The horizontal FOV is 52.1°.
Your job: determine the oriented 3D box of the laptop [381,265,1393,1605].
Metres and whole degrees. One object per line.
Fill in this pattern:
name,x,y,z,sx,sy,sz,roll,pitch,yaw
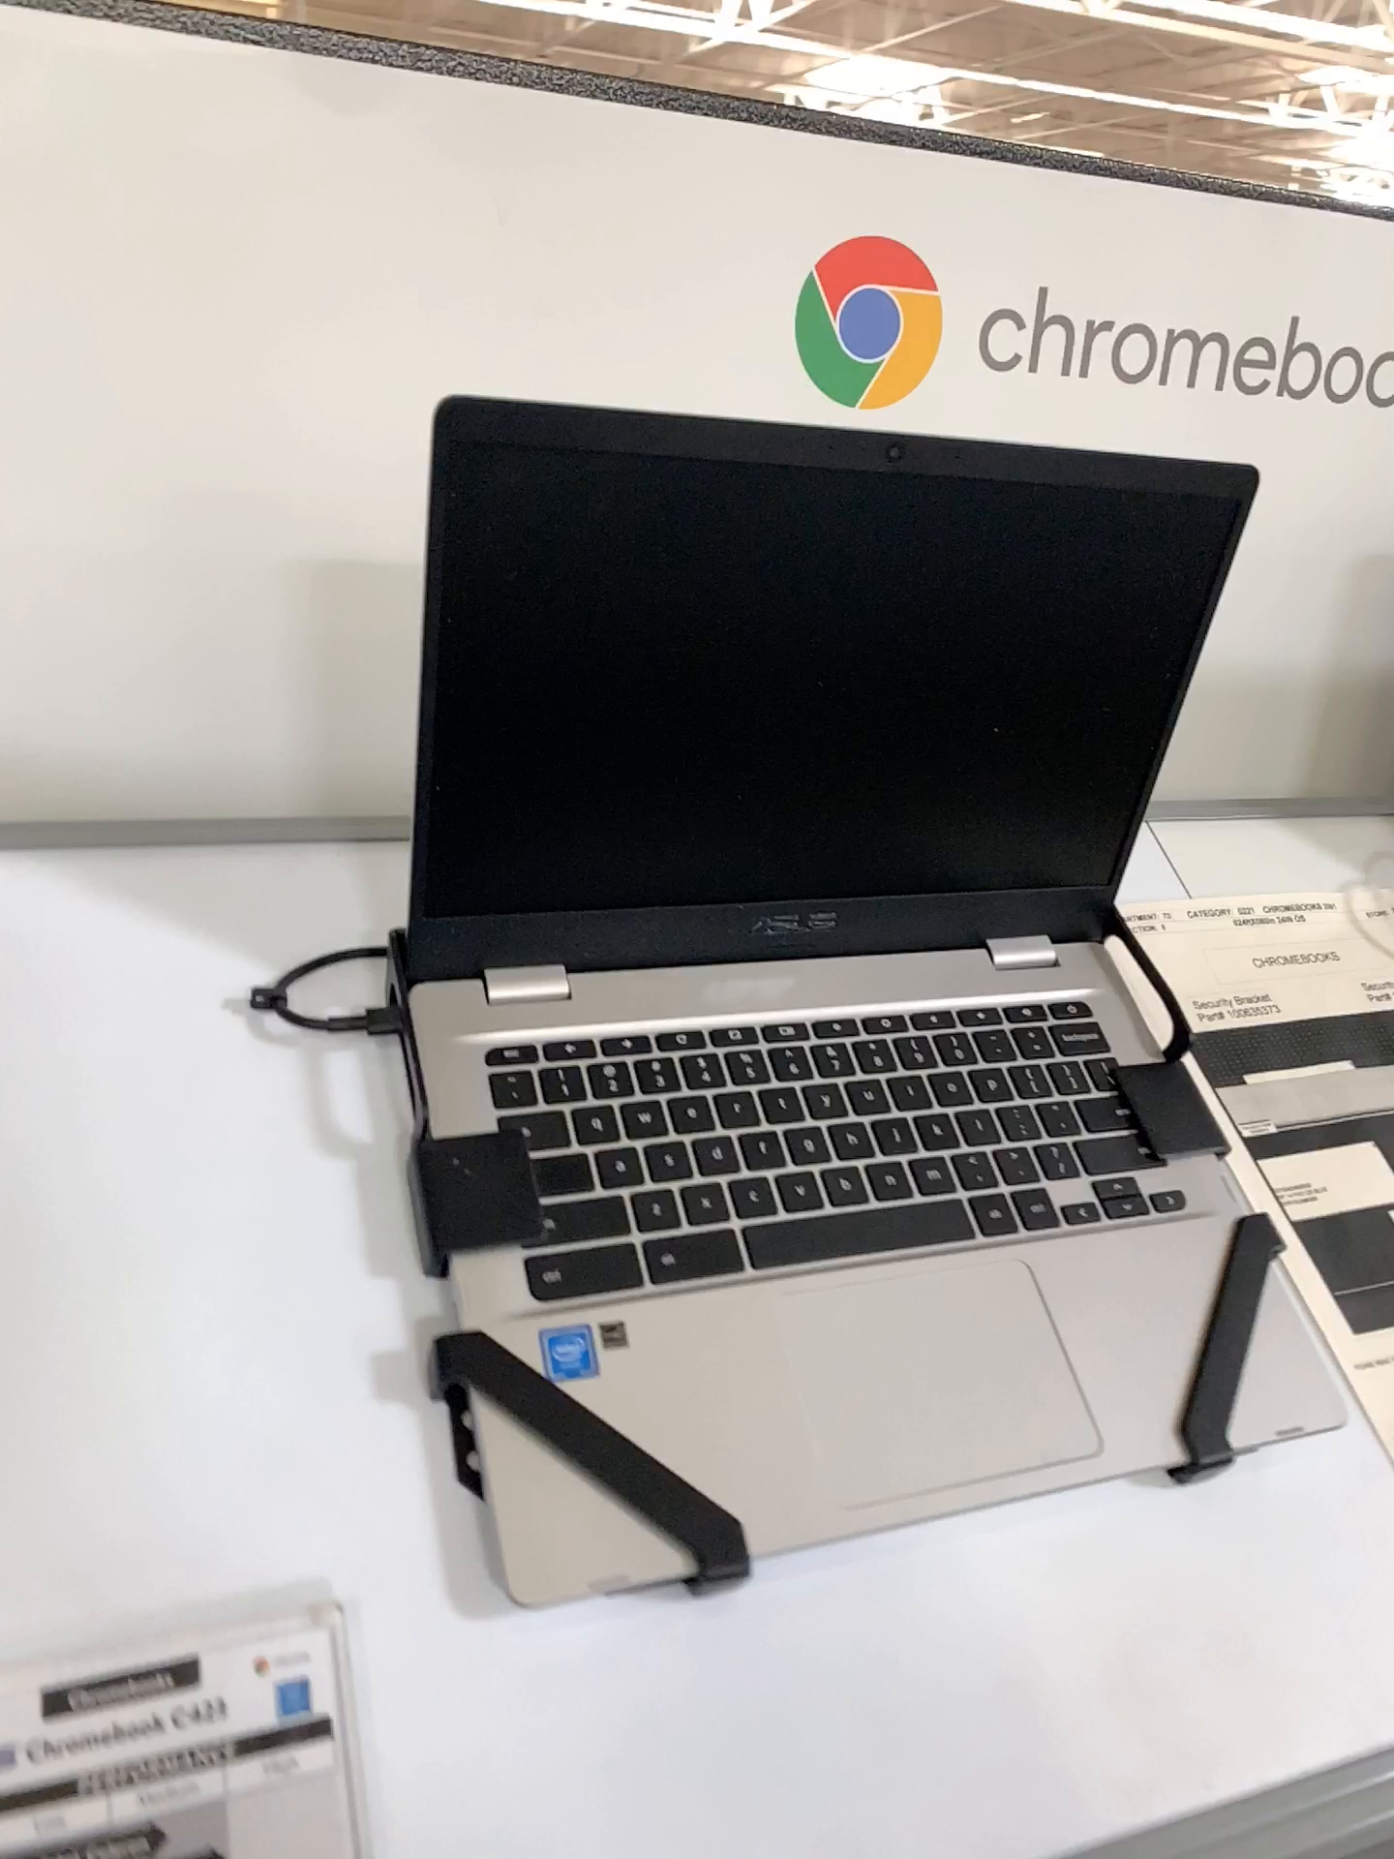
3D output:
laptop,0.064,-0.026,0.512,0.308,0.196,0.293,-3,43,-21
